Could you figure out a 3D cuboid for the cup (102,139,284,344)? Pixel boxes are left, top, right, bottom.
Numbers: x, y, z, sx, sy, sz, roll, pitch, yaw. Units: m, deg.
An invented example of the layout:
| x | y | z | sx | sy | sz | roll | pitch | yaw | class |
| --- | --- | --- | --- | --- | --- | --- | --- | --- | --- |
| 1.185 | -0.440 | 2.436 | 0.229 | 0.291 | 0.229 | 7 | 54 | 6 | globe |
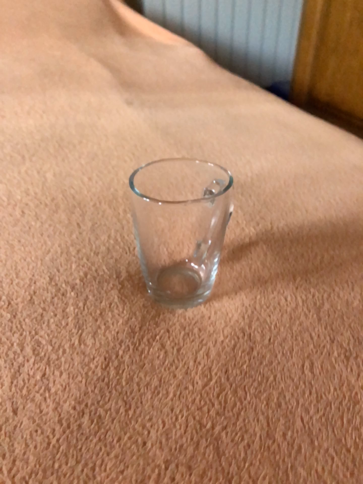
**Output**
| x | y | z | sx | sy | sz | roll | pitch | yaw | class |
| --- | --- | --- | --- | --- | --- | --- | --- | --- | --- |
| 0.010 | -0.007 | 0.283 | 0.070 | 0.089 | 0.101 | 23 | 39 | 30 | cup |
